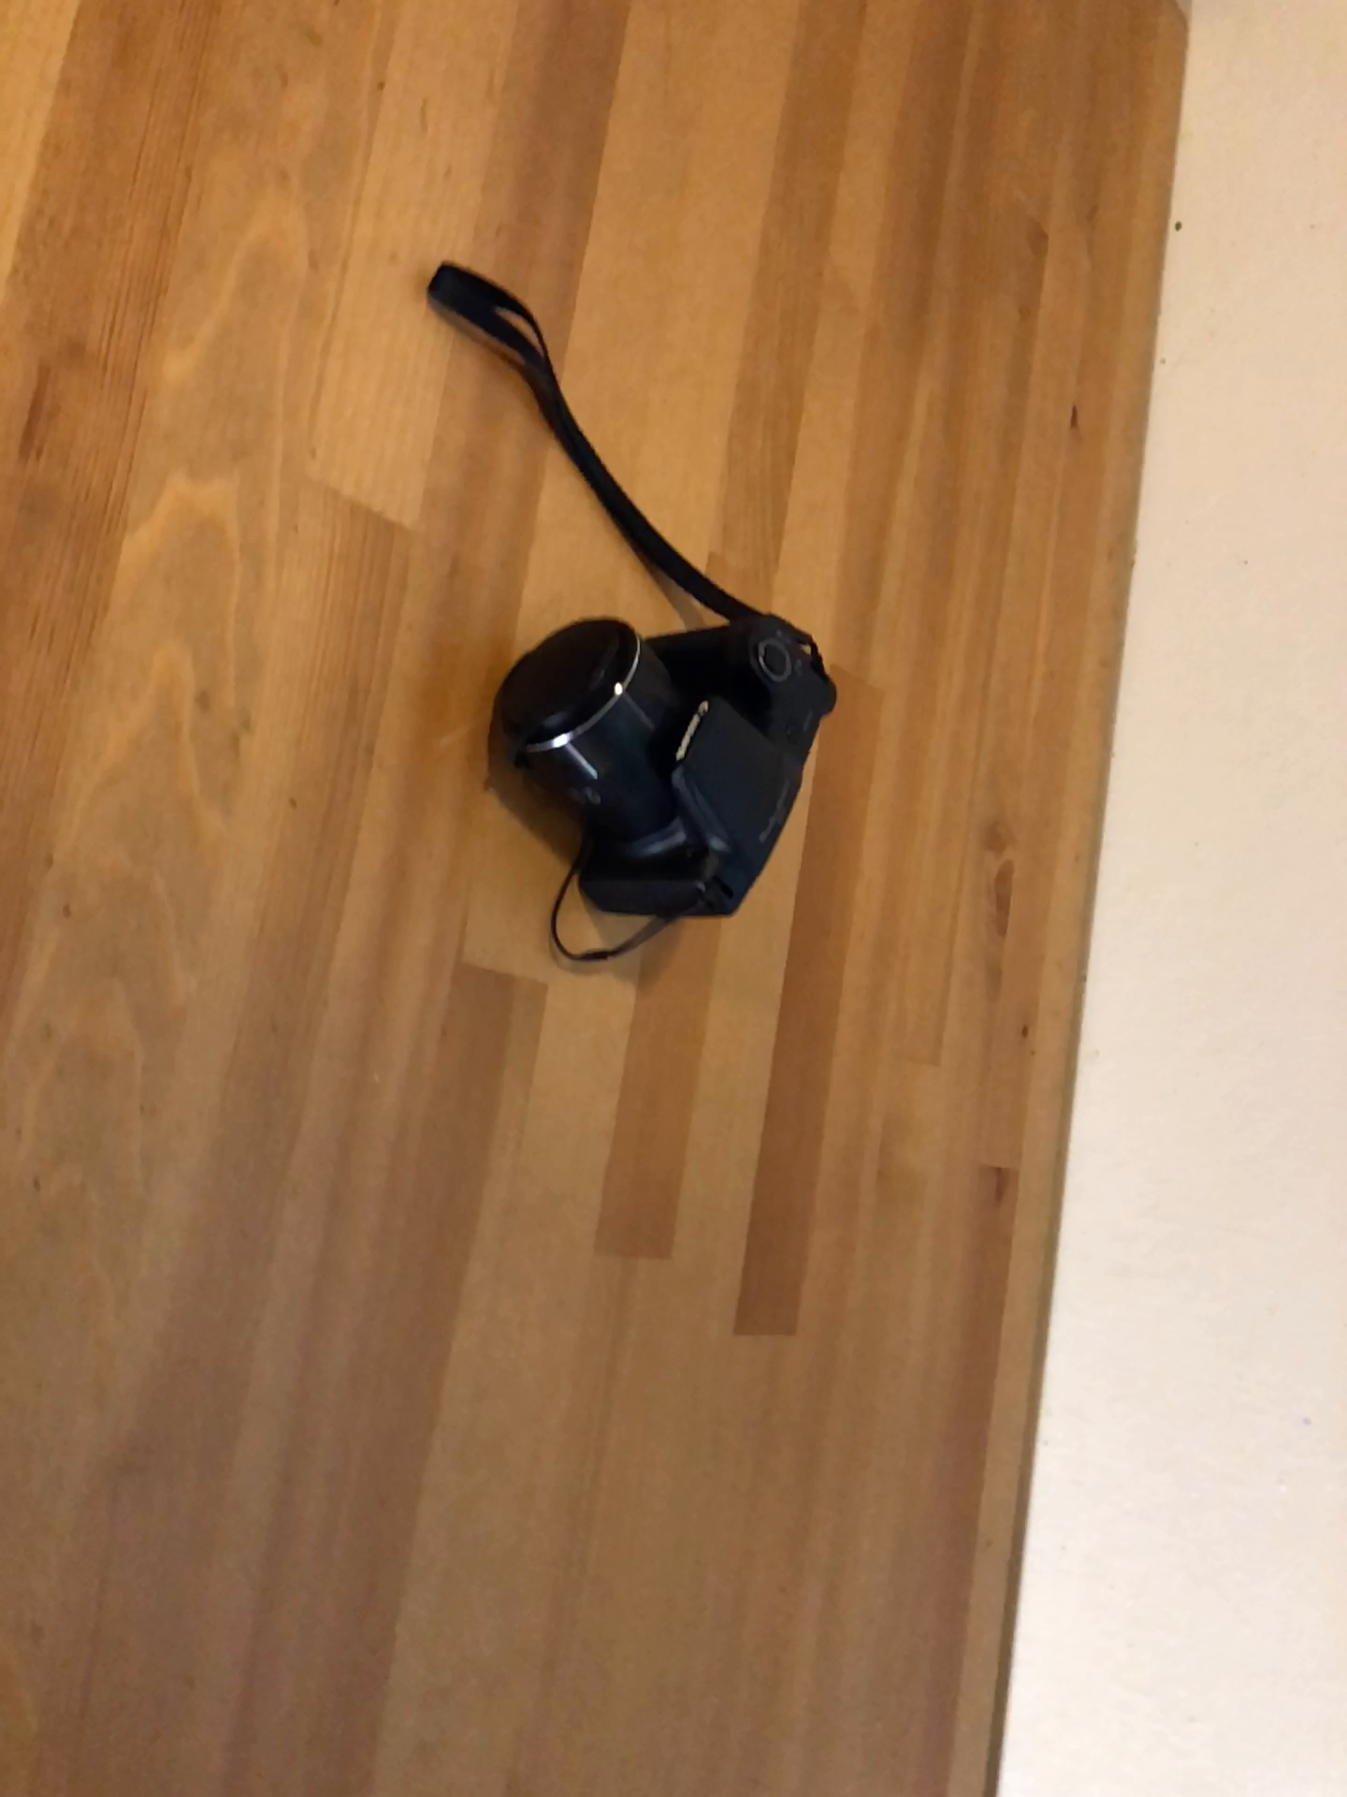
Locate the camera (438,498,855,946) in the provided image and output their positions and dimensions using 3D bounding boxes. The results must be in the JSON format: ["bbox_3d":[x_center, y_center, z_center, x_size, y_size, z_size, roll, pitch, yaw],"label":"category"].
[{"bbox_3d":[-0.005,-0.057,0.505,0.096,0.062,0.109,44,59,-39],"label":"camera"}]
